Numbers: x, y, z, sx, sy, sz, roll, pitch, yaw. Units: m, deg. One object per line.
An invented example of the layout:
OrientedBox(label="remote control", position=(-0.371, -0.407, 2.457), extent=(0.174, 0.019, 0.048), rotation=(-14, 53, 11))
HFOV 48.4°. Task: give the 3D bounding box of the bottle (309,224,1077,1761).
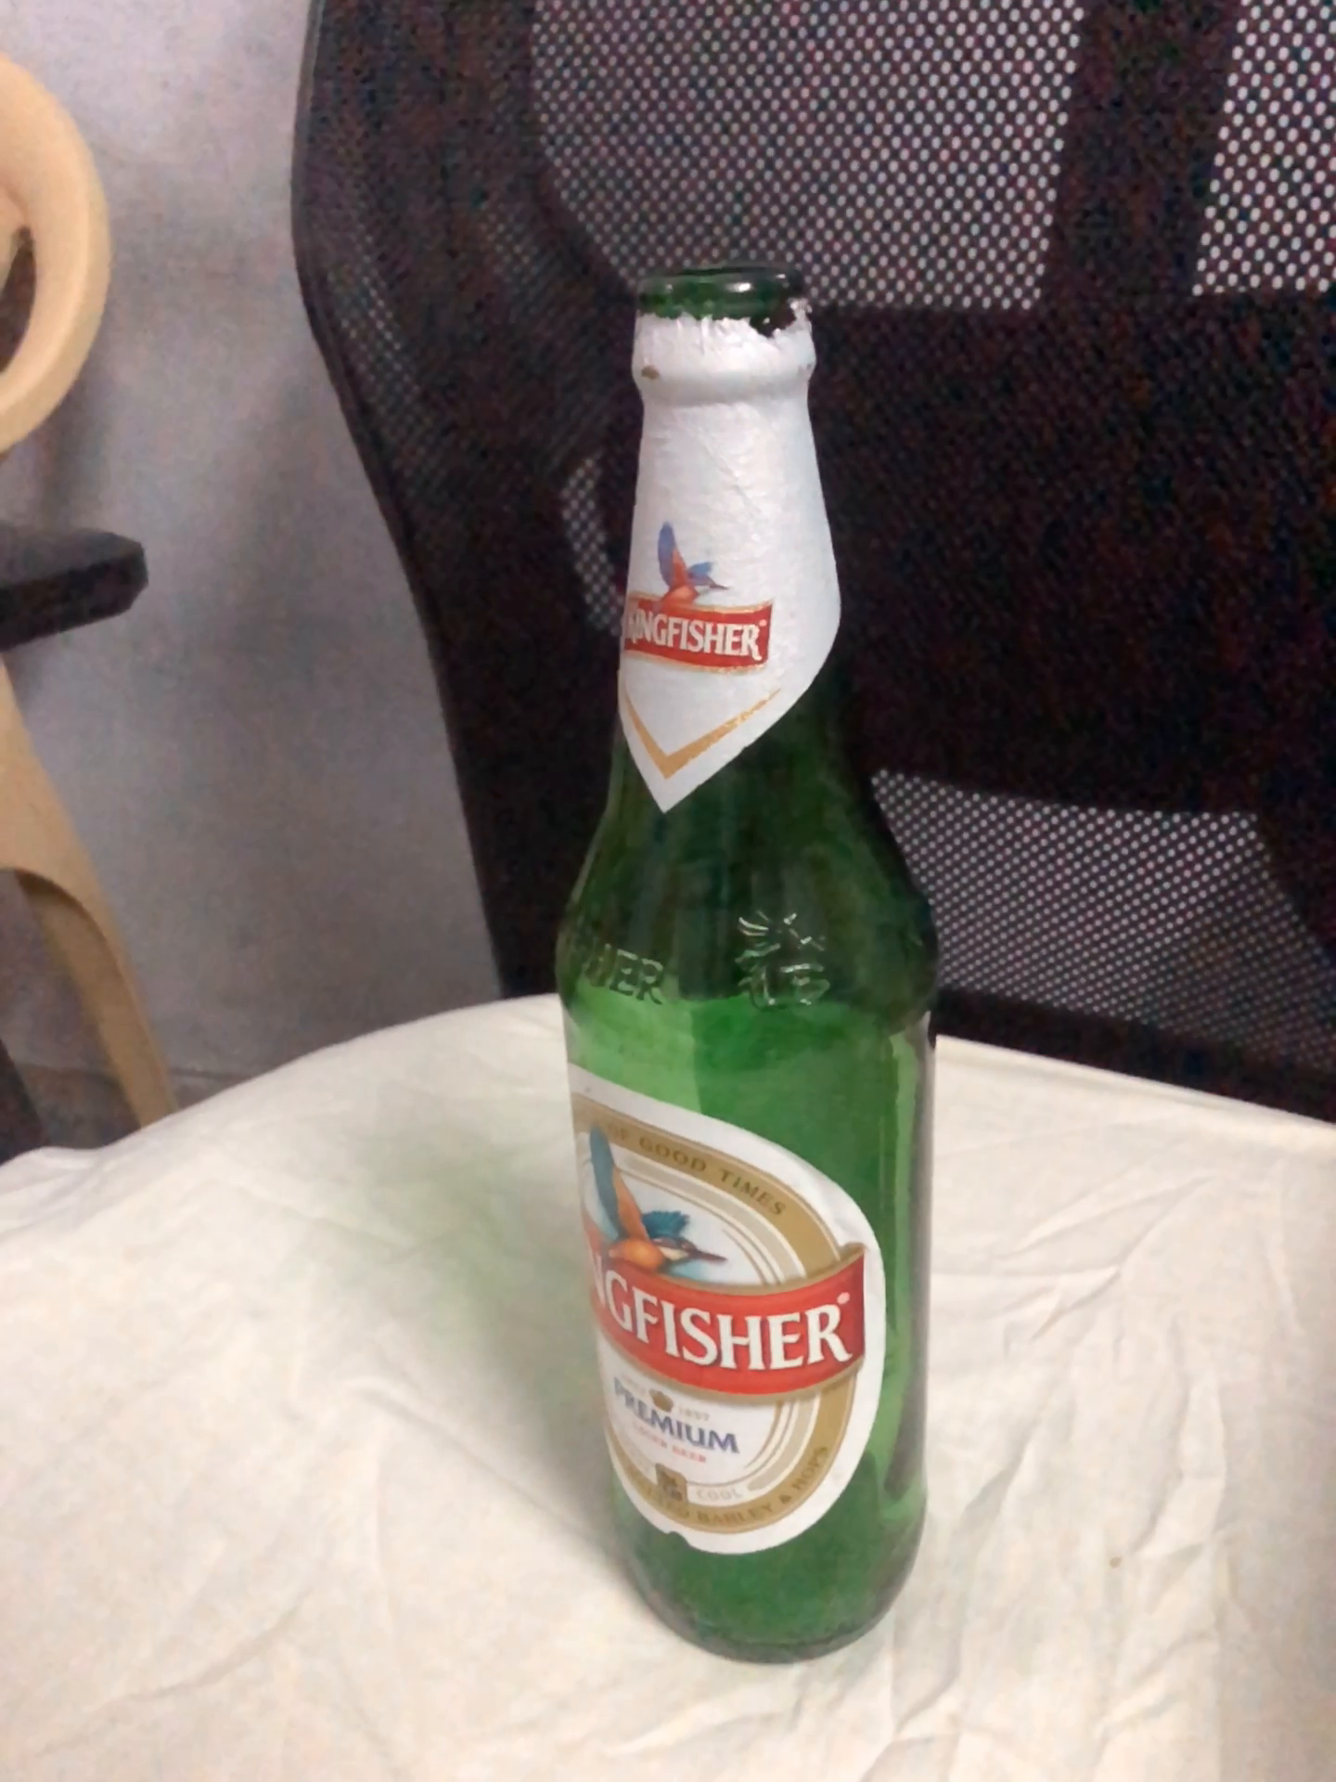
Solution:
OrientedBox(label="bottle", position=(0.011, 0.026, 0.266), extent=(0.080, 0.259, 0.070), rotation=(18, 35, 35))
